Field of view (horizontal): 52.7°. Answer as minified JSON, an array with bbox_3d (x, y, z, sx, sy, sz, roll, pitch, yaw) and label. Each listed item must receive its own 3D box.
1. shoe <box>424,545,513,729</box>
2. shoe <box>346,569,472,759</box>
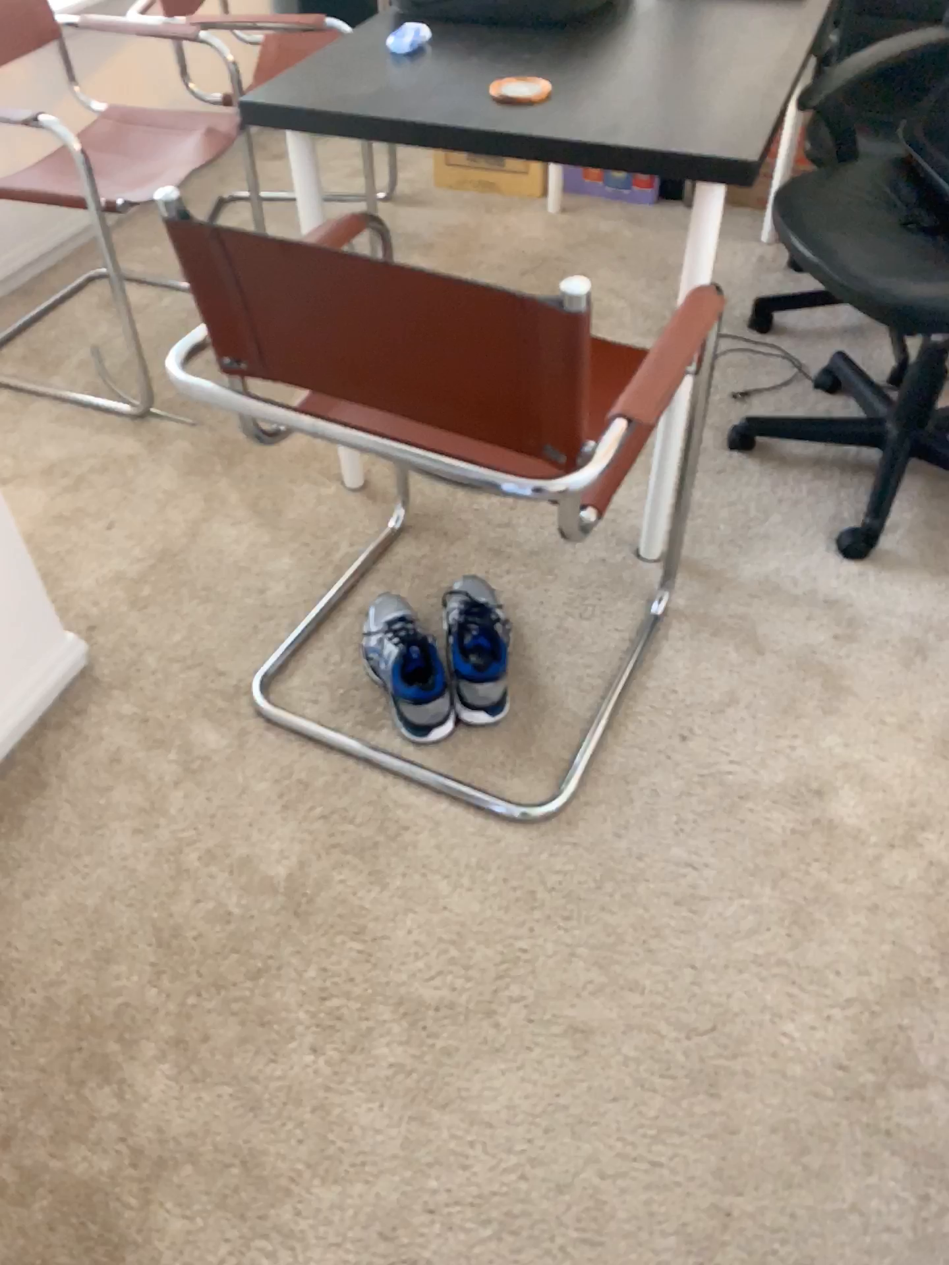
[{"bbox_3d":[-0.012,0.000,1.545,0.130,0.099,0.312,-1,46,-1],"label":"shoe"},{"bbox_3d":[-0.113,0.045,1.595,0.130,0.099,0.312,-13,47,-12],"label":"shoe"}]
